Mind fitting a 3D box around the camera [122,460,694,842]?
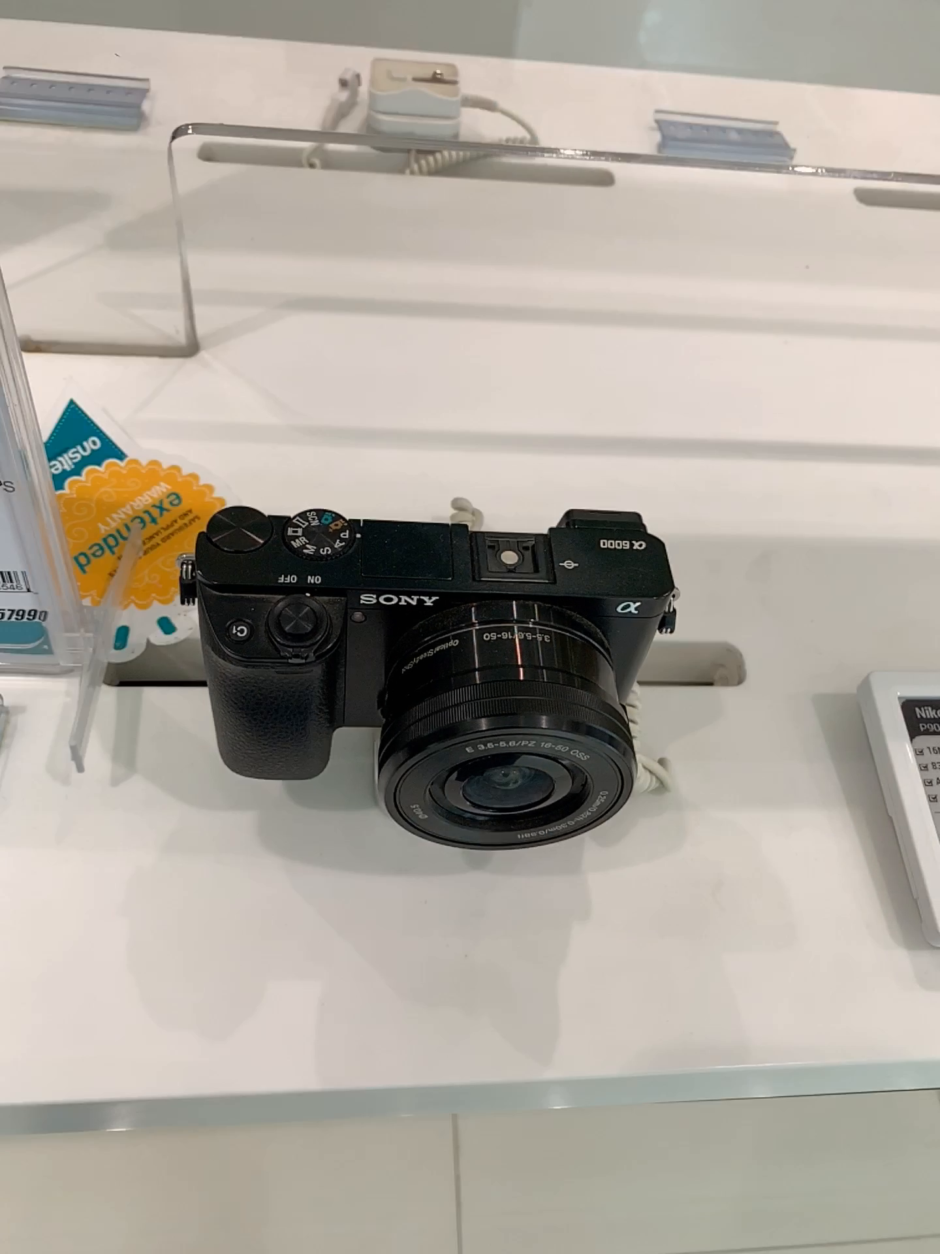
[{"bbox_3d":[-0.014,0.008,0.219,0.104,0.063,0.058,1,54,-7],"label":"camera"}]
